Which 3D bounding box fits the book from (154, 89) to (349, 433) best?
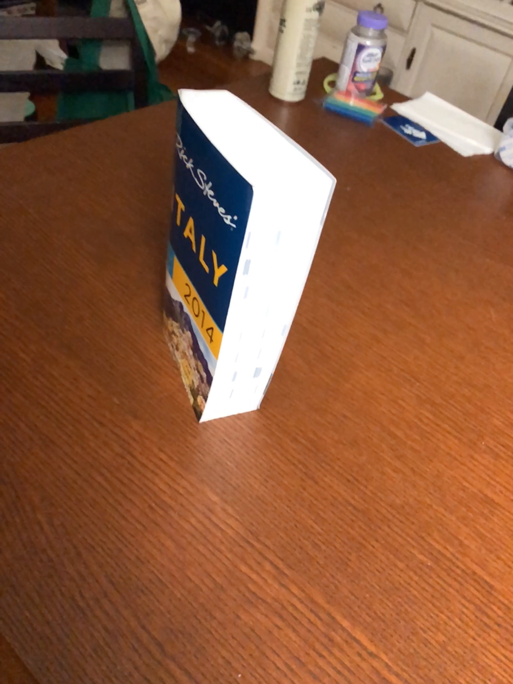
[{"bbox_3d":[-0.020,-0.052,0.402,0.050,0.199,0.131,-11,49,-26],"label":"book"}]
